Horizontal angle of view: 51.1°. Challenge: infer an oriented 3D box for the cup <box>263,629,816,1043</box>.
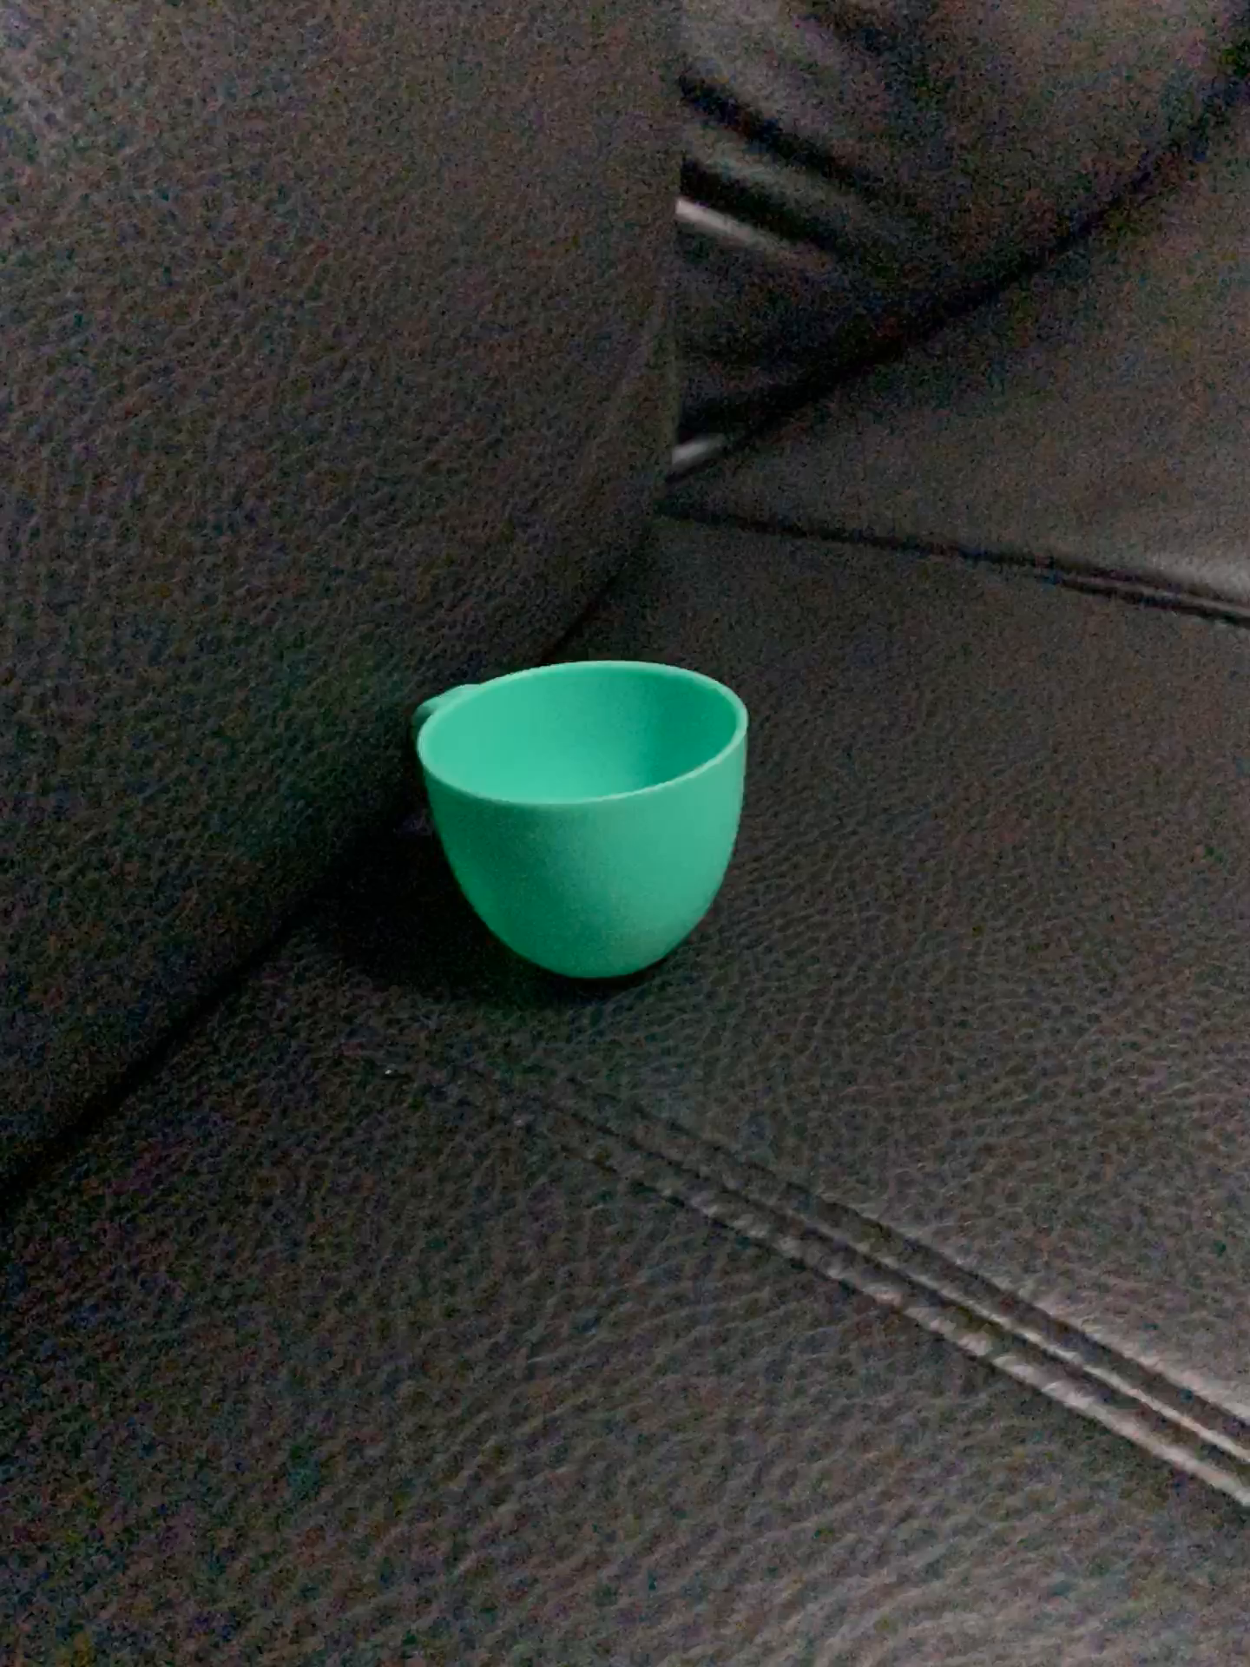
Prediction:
[{"bbox_3d":[-0.013,-0.005,0.199,0.053,0.030,0.063,-26,31,-33],"label":"cup"}]
